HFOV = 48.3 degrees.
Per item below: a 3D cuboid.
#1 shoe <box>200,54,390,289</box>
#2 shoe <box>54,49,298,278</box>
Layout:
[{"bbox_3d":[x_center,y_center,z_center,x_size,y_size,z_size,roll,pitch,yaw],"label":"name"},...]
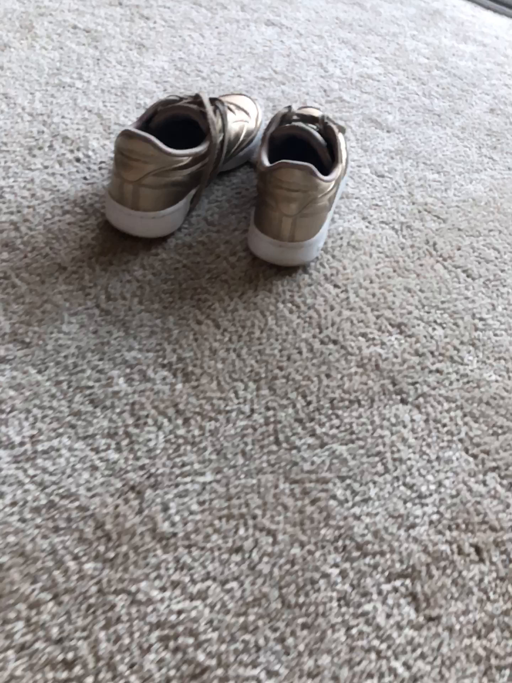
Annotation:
[{"bbox_3d":[0.048,-0.179,0.549,0.110,0.070,0.281,18,47,4],"label":"shoe"},{"bbox_3d":[-0.061,-0.187,0.552,0.110,0.070,0.281,22,47,8],"label":"shoe"}]
